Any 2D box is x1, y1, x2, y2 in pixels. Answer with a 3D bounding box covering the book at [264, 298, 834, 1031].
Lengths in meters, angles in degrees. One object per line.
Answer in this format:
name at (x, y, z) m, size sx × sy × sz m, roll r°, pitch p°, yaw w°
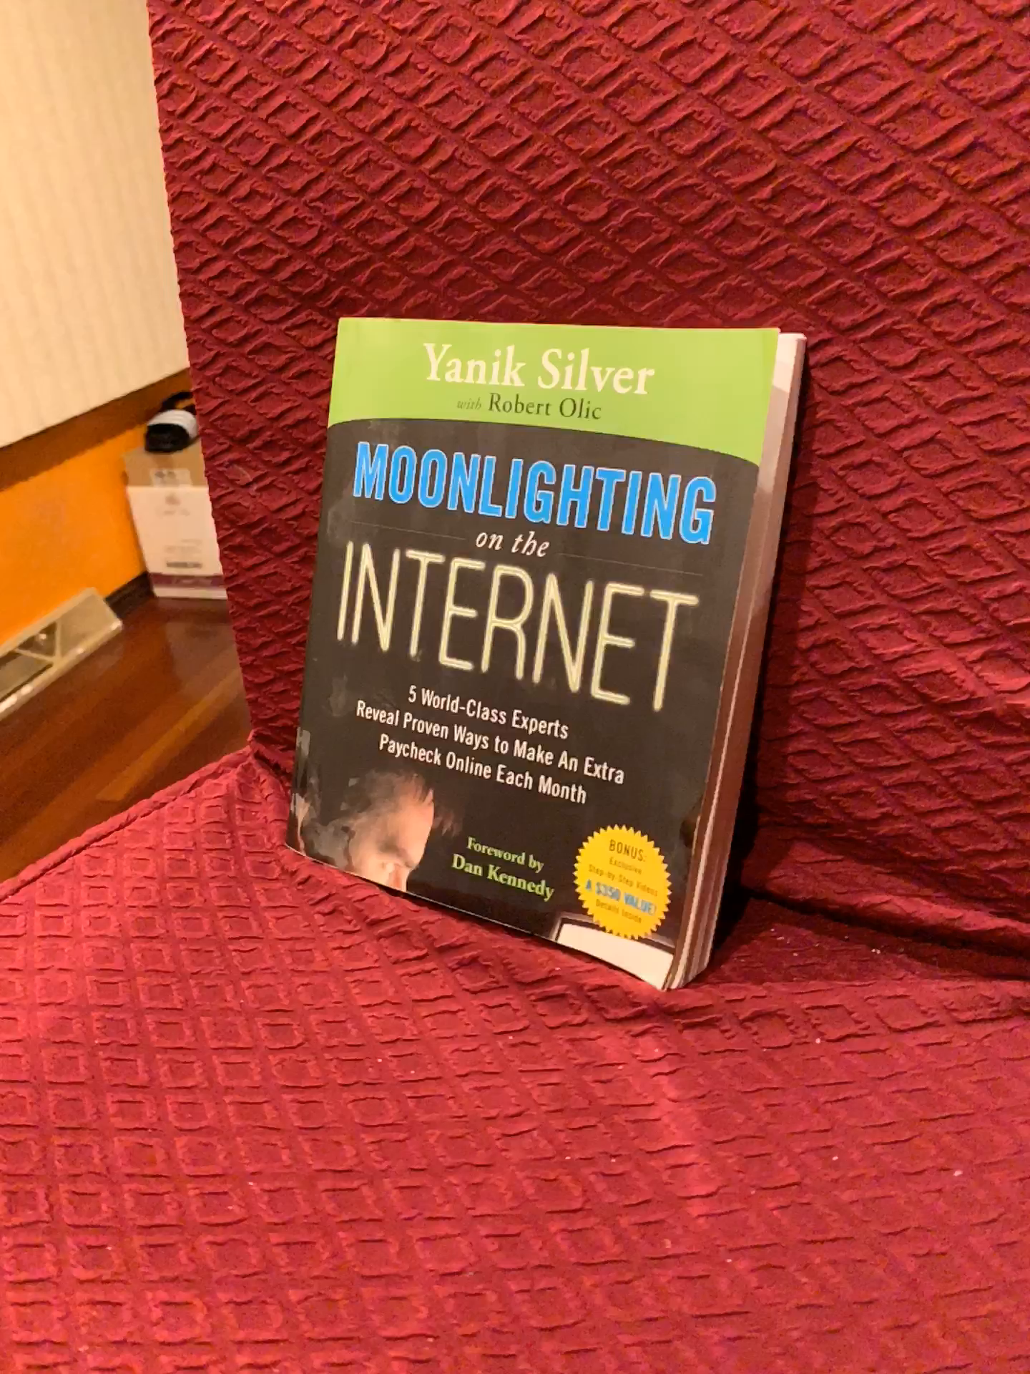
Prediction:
book at (-0.001, -0.021, 0.410) m, size 0.201 × 0.240 × 0.040 m, roll 12°, pitch 10°, yaw 31°
